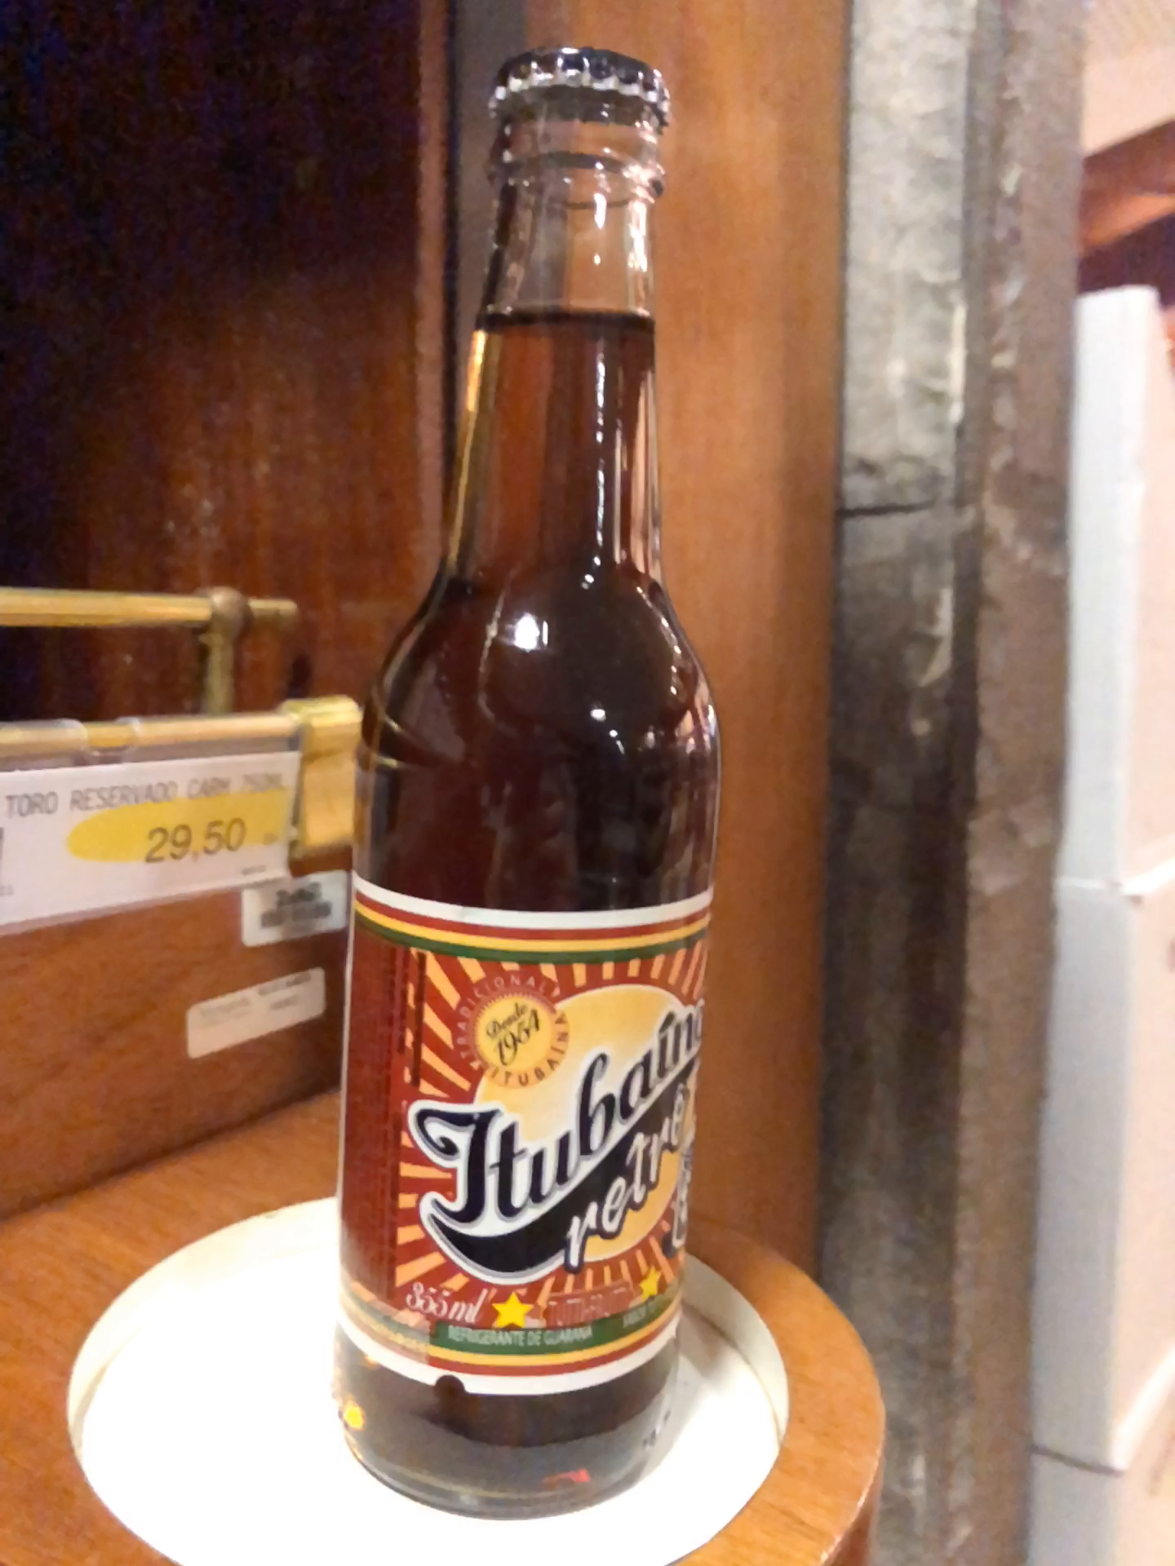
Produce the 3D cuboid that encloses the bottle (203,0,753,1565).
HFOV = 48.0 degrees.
[{"bbox_3d":[-0.021,0.005,0.246,0.070,0.250,0.070,0,5,0],"label":"bottle"}]
